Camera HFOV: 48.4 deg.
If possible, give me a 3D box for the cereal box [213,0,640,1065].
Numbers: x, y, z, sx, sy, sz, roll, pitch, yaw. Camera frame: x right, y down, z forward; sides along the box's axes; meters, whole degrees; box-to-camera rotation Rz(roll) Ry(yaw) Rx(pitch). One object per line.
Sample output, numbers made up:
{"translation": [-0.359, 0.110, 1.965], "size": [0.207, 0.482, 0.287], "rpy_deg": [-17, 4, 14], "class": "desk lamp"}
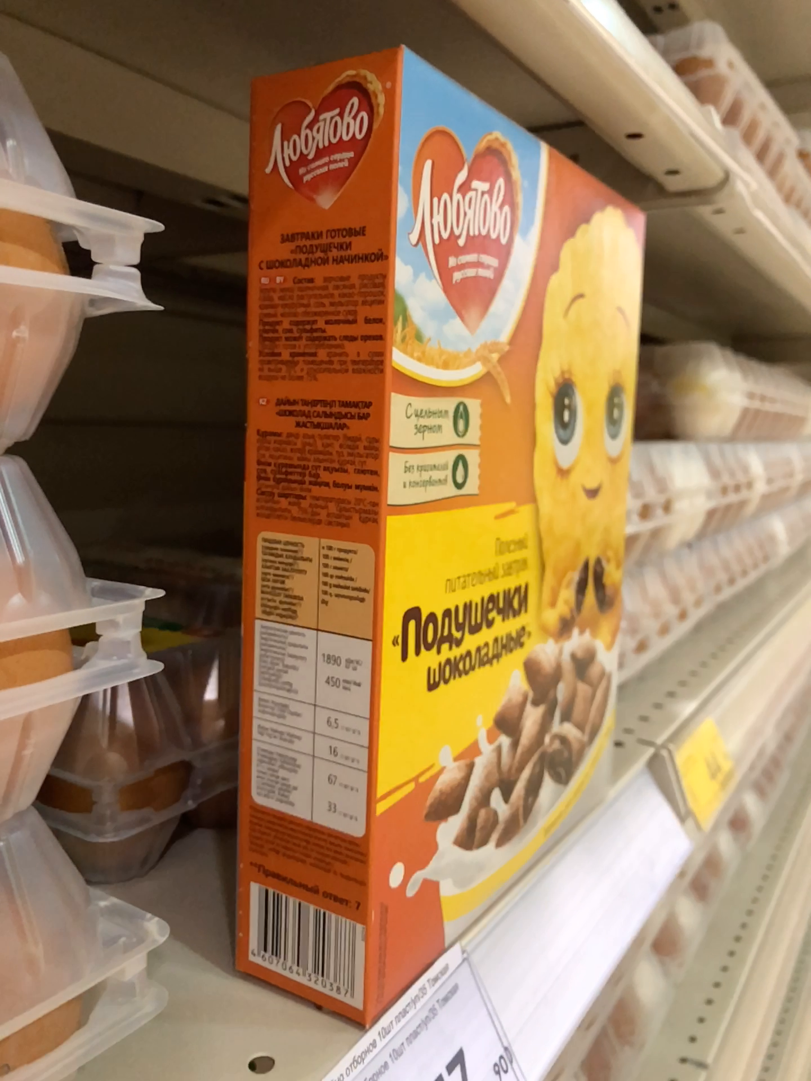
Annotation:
{"translation": [0.019, -0.010, 0.280], "size": [0.040, 0.240, 0.180], "rpy_deg": [5, 7, 31], "class": "cereal box"}
